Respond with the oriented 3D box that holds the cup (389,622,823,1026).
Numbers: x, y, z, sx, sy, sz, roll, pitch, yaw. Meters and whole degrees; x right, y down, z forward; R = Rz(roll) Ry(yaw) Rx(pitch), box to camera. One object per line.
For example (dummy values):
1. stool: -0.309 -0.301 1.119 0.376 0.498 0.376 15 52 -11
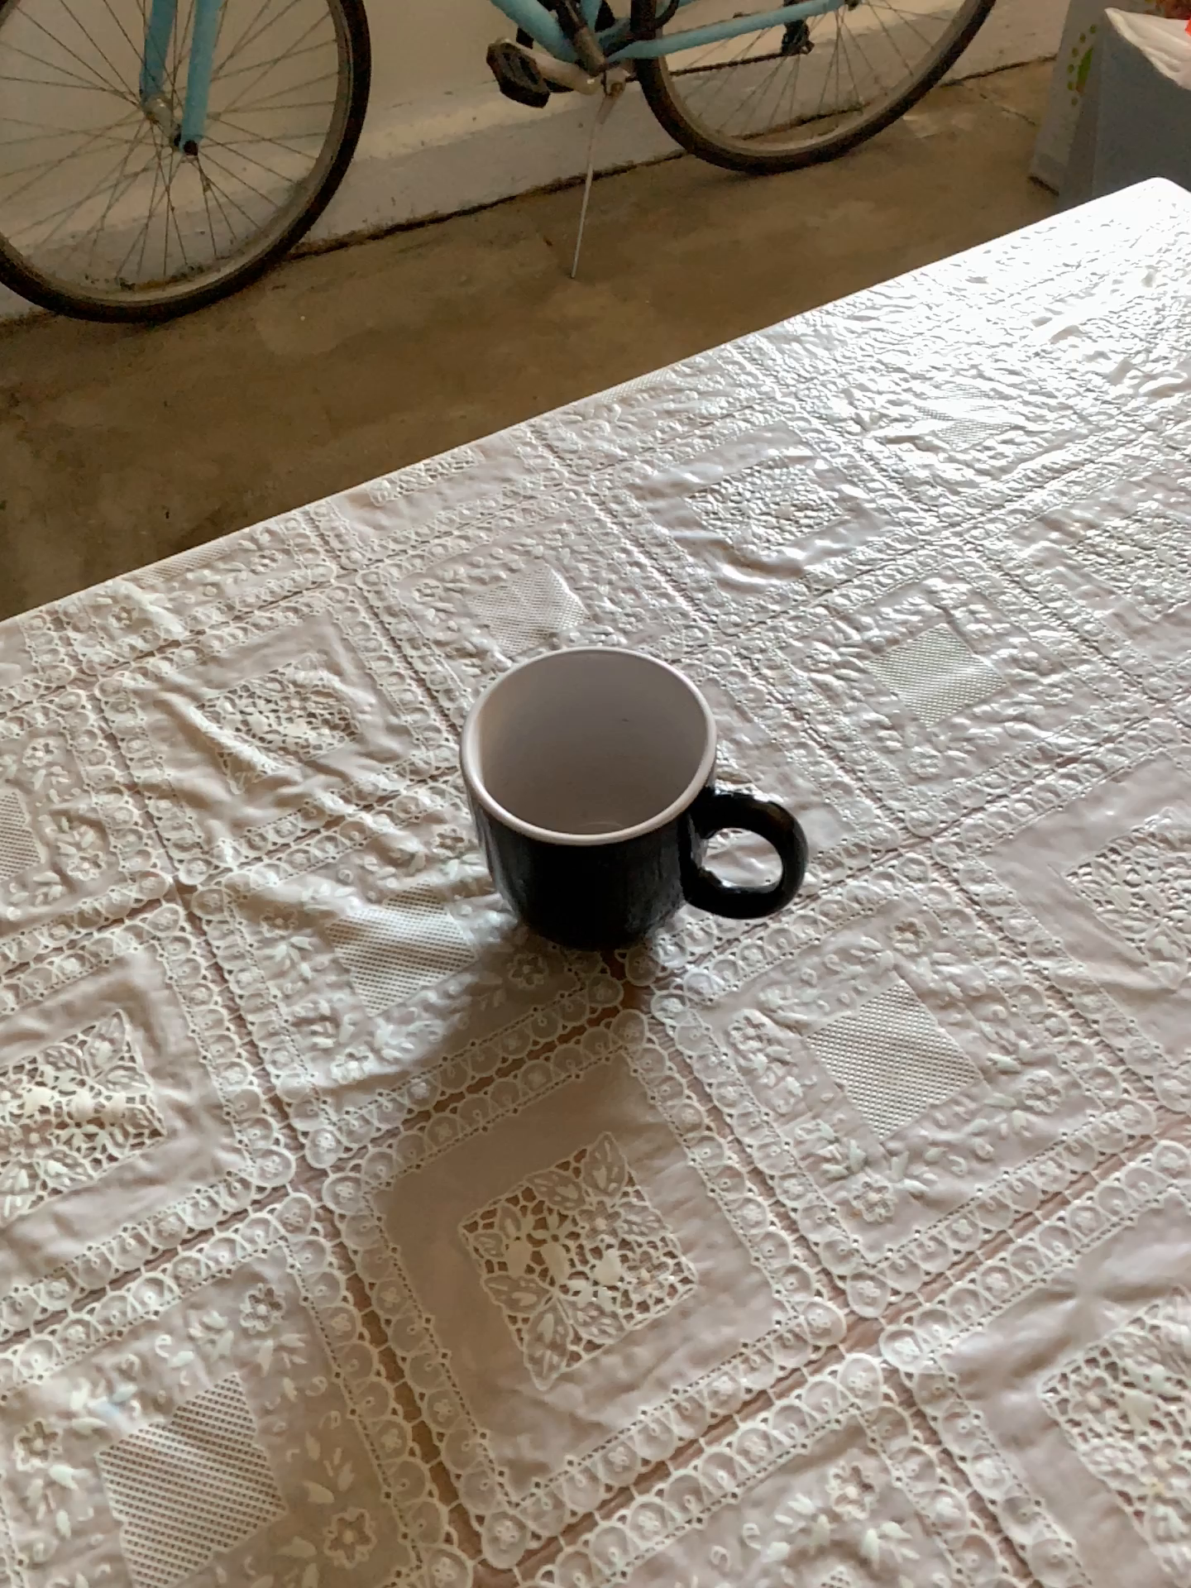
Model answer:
1. cup: 0.008 0.010 0.463 0.130 0.090 0.090 14 54 16
